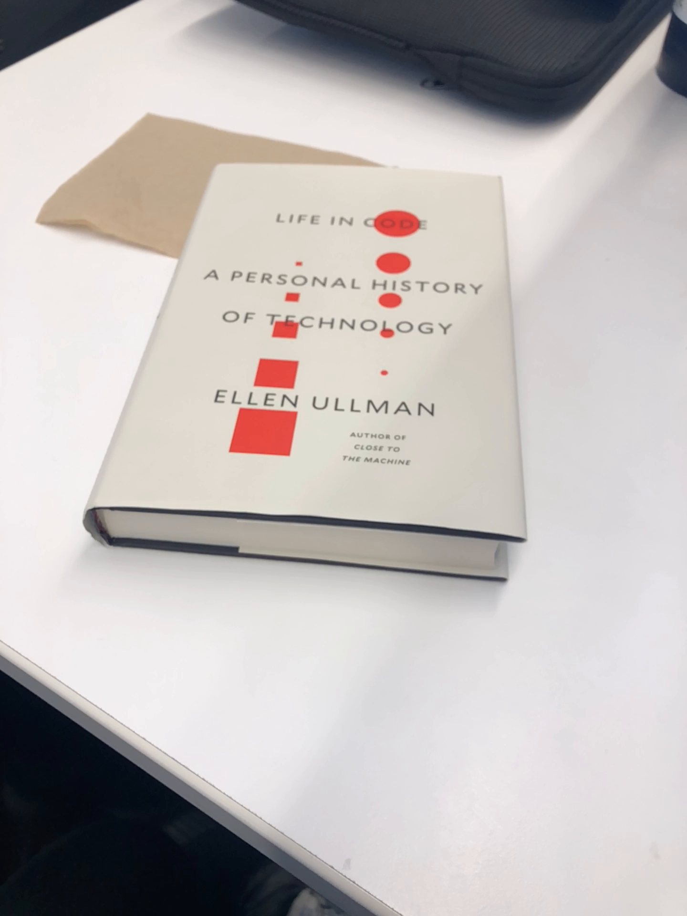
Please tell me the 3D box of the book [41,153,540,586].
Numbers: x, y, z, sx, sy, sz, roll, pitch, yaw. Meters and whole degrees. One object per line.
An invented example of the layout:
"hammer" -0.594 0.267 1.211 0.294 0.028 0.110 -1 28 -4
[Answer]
"book" -0.007 -0.056 0.328 0.160 0.030 0.221 4 50 4
